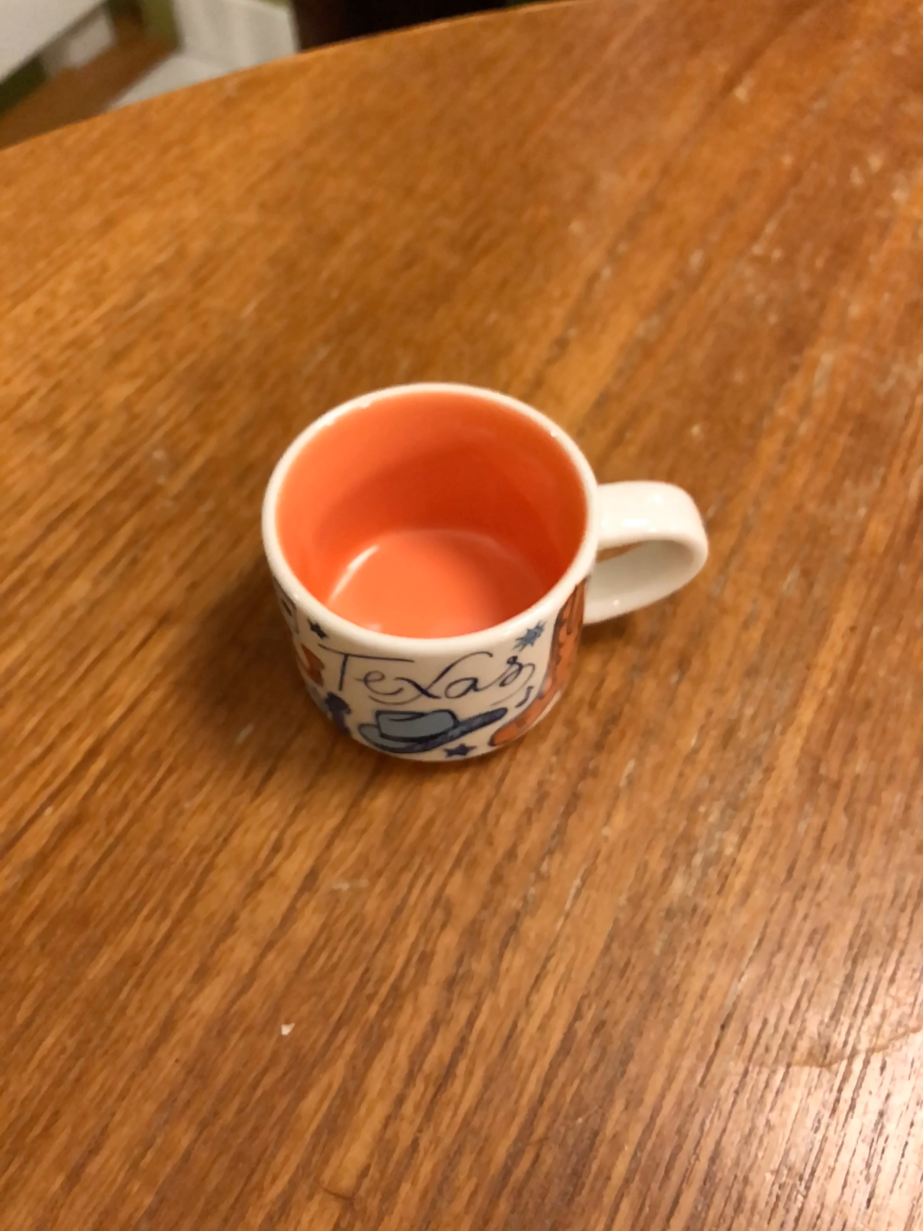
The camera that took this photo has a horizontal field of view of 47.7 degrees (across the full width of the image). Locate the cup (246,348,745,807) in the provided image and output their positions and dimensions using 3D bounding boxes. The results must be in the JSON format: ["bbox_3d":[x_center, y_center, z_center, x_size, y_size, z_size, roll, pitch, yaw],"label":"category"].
[{"bbox_3d":[0.003,-0.007,0.196,0.076,0.046,0.064,-6,58,-3],"label":"cup"}]
